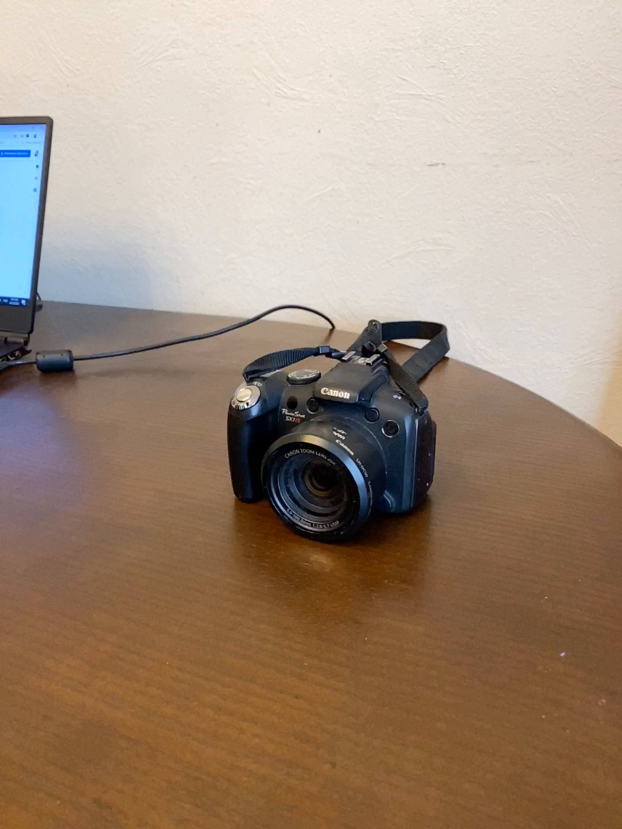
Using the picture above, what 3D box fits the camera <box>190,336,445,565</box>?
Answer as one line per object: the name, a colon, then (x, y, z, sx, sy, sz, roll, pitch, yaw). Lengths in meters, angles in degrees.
camera: (0.005, 0.014, 0.380, 0.123, 0.088, 0.082, 11, 25, 24)
